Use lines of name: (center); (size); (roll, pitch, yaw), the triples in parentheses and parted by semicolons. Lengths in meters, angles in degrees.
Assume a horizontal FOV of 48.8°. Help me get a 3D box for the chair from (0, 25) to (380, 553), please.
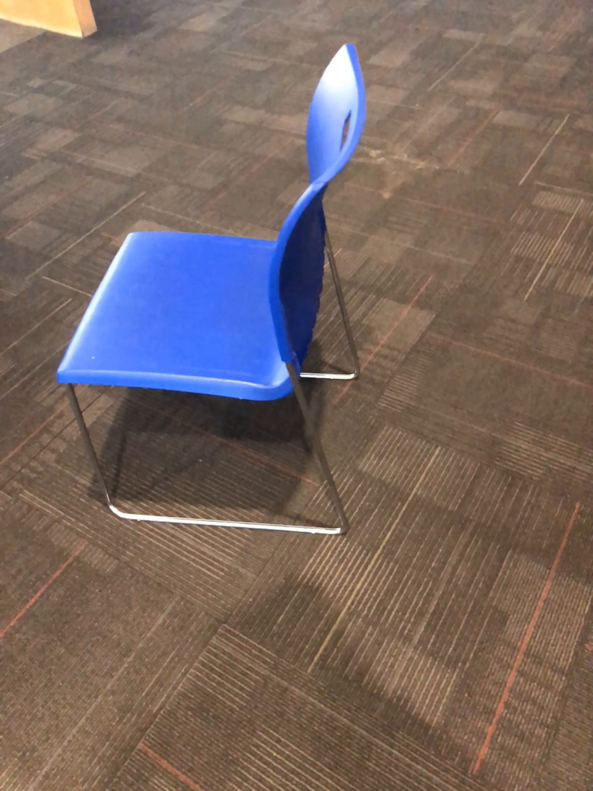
chair: (-0.155, -0.177, 1.238); (0.590, 0.757, 0.582); (2, 47, 8)
